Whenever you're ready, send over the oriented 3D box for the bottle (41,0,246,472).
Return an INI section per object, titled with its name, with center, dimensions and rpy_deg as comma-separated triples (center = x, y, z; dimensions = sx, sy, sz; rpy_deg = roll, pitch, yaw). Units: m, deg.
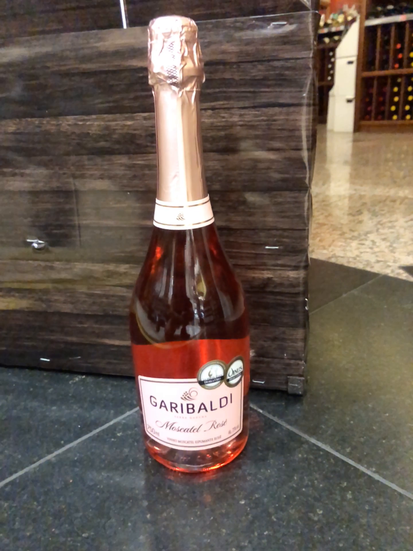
[bottle]
center = -0.028, -0.020, 0.357
dimensions = 0.110, 0.338, 0.101
rpy_deg = -2, 19, 1
